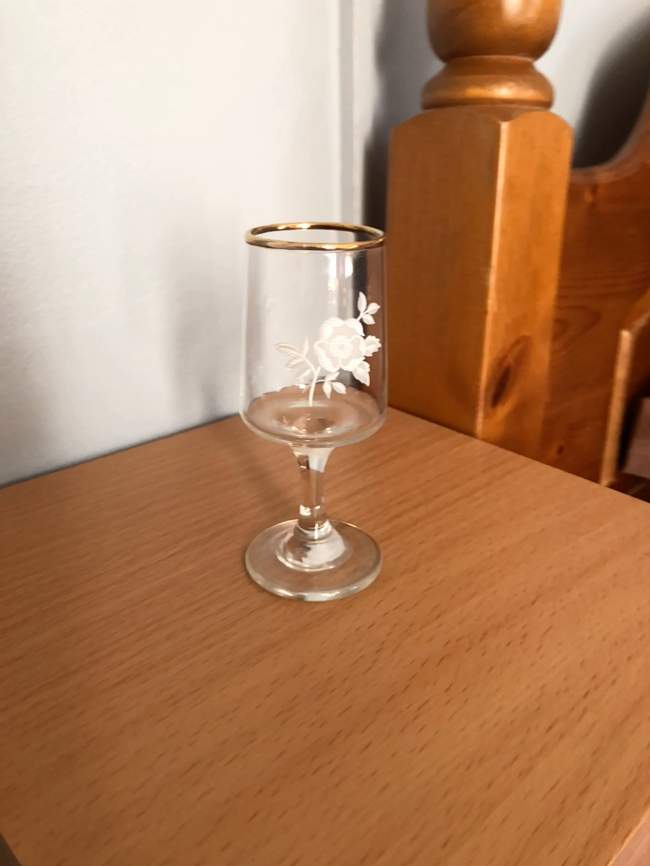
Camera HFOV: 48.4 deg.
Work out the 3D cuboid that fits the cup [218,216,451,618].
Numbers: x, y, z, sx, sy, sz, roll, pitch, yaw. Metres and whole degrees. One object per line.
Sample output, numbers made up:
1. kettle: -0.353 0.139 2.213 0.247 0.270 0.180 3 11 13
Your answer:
1. cup: -0.001 -0.008 0.225 0.052 0.108 0.056 1 22 0
